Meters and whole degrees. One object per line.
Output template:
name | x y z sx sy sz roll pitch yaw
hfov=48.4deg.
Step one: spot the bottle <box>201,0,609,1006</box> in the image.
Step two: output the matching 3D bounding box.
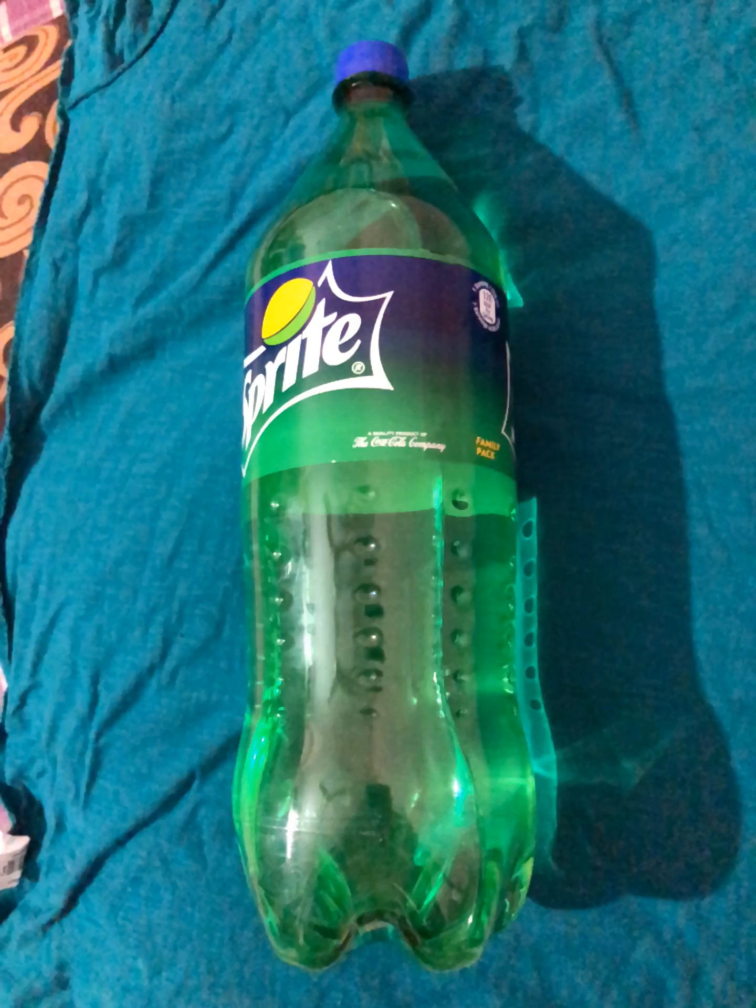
bottle | 0.003 -0.026 0.297 0.110 0.070 0.330 -8 79 31
